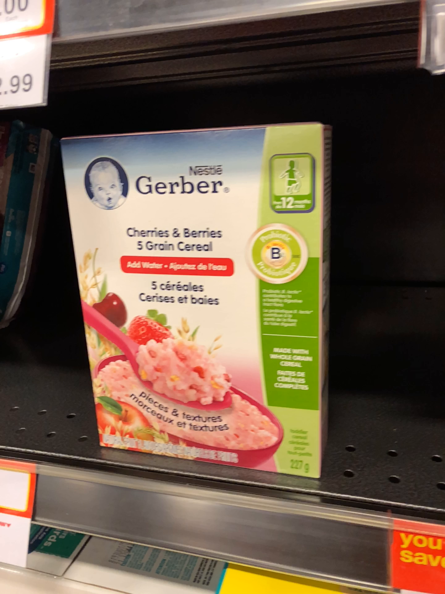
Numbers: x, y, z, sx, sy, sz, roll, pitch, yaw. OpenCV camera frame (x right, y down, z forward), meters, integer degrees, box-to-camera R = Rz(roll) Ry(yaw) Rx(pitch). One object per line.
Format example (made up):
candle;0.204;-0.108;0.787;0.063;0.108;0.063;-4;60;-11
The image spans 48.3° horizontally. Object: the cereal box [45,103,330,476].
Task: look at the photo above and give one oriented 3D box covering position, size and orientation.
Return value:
cereal box;-0.015;-0.002;0.296;0.150;0.199;0.040;2;17;17
